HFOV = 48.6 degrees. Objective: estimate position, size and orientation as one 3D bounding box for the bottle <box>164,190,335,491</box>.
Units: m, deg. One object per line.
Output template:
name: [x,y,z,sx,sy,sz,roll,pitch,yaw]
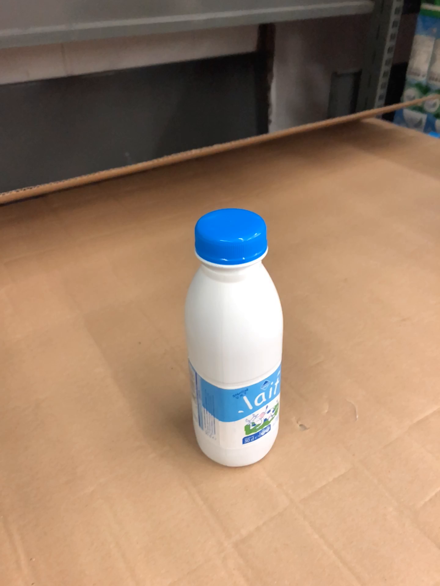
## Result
bottle: [0.015,0.038,0.334,0.070,0.189,0.070,0,36,0]
